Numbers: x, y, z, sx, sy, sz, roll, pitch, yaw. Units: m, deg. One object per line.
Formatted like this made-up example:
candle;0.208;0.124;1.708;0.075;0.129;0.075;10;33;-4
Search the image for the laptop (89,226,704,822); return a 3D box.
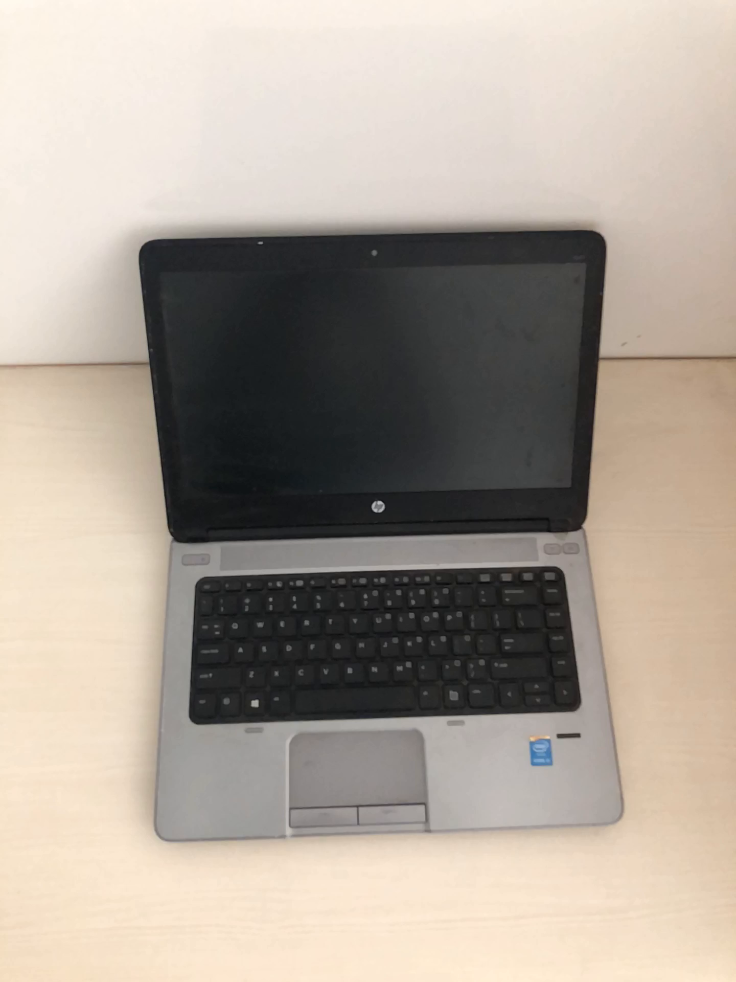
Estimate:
laptop;0.009;0.021;0.566;0.322;0.149;0.378;-2;67;-1
